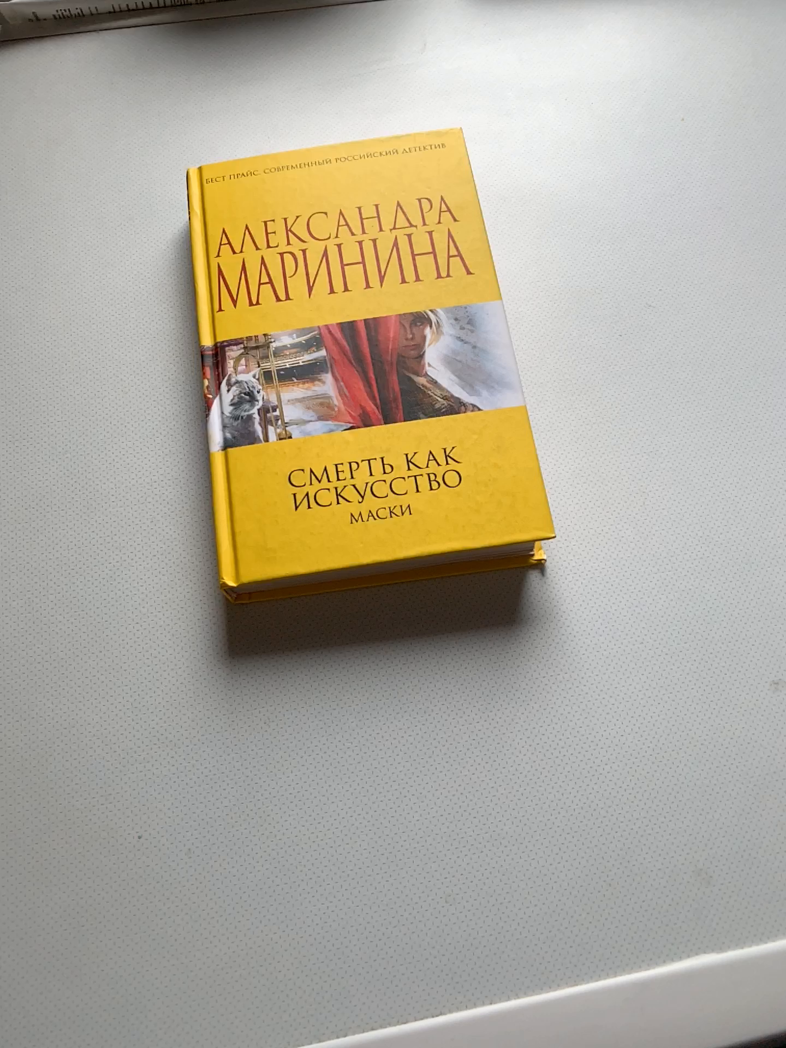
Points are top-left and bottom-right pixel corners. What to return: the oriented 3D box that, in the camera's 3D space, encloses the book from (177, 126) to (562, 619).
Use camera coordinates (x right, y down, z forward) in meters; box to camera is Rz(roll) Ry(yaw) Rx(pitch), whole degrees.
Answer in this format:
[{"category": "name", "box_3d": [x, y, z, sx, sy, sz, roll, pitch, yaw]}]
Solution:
[{"category": "book", "box_3d": [-0.016, -0.066, 0.318, 0.120, 0.030, 0.189, -8, 69, -3]}]
